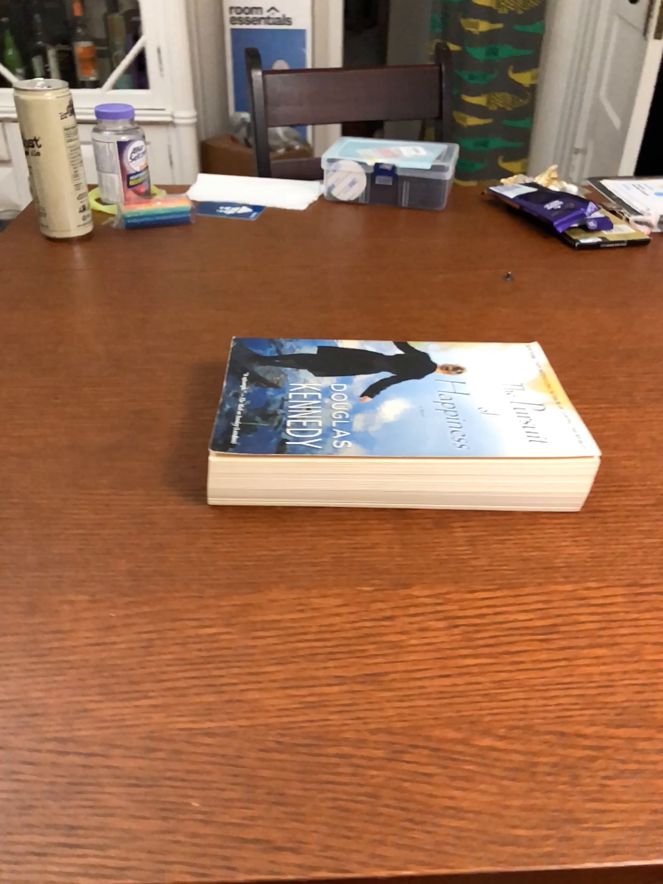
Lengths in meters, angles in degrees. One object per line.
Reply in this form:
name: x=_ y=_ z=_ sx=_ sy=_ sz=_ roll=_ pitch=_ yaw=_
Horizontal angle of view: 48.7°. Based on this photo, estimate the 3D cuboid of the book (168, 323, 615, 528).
book: x=0.032 y=-0.018 z=0.473 sx=0.240 sy=0.050 sz=0.161 roll=0 pitch=35 yaw=-1
